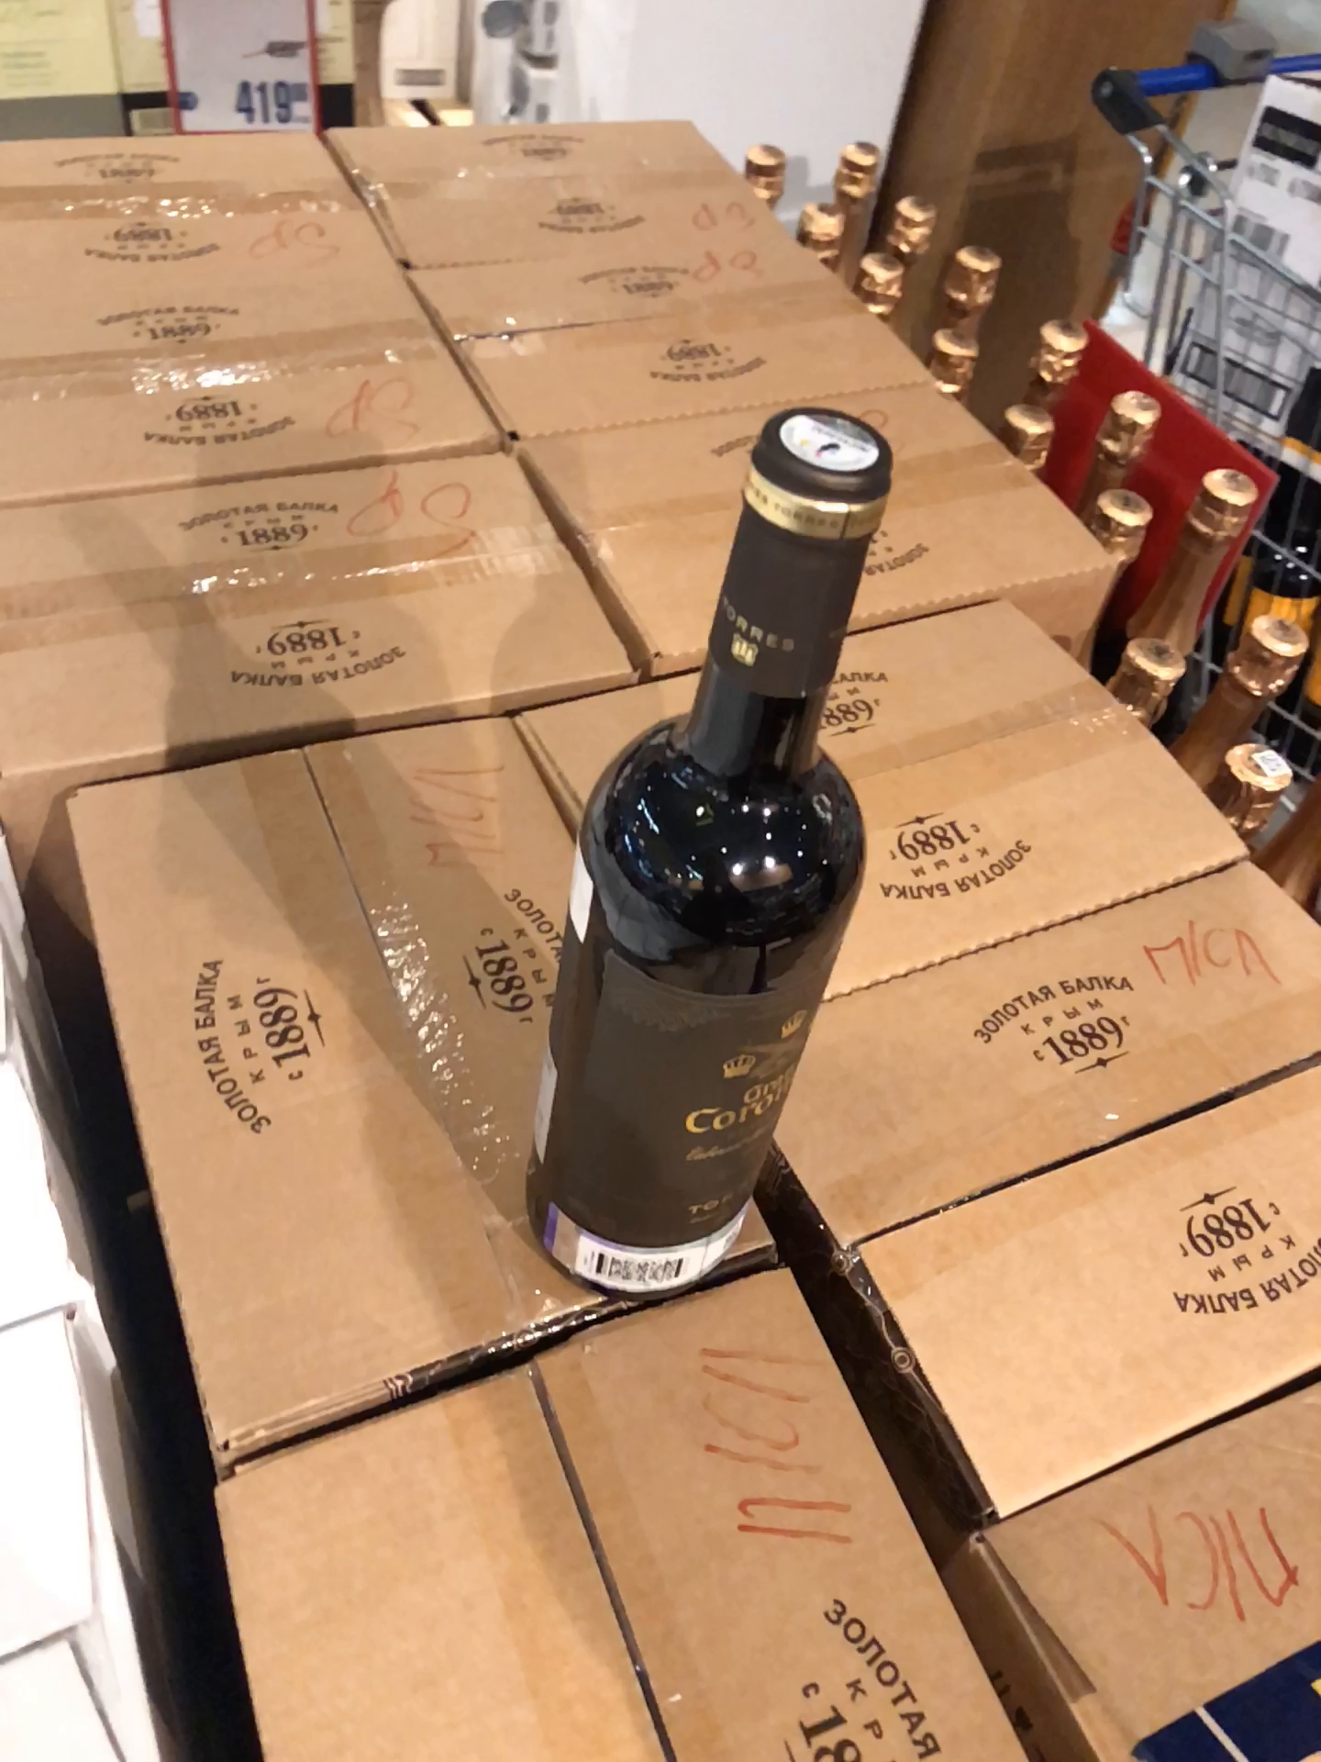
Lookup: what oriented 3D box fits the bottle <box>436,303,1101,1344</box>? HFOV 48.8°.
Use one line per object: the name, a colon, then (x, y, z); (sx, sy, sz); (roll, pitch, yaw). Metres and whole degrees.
bottle: (0.005, 0.006, 0.392); (0.090, 0.278, 0.090); (6, 48, -6)
